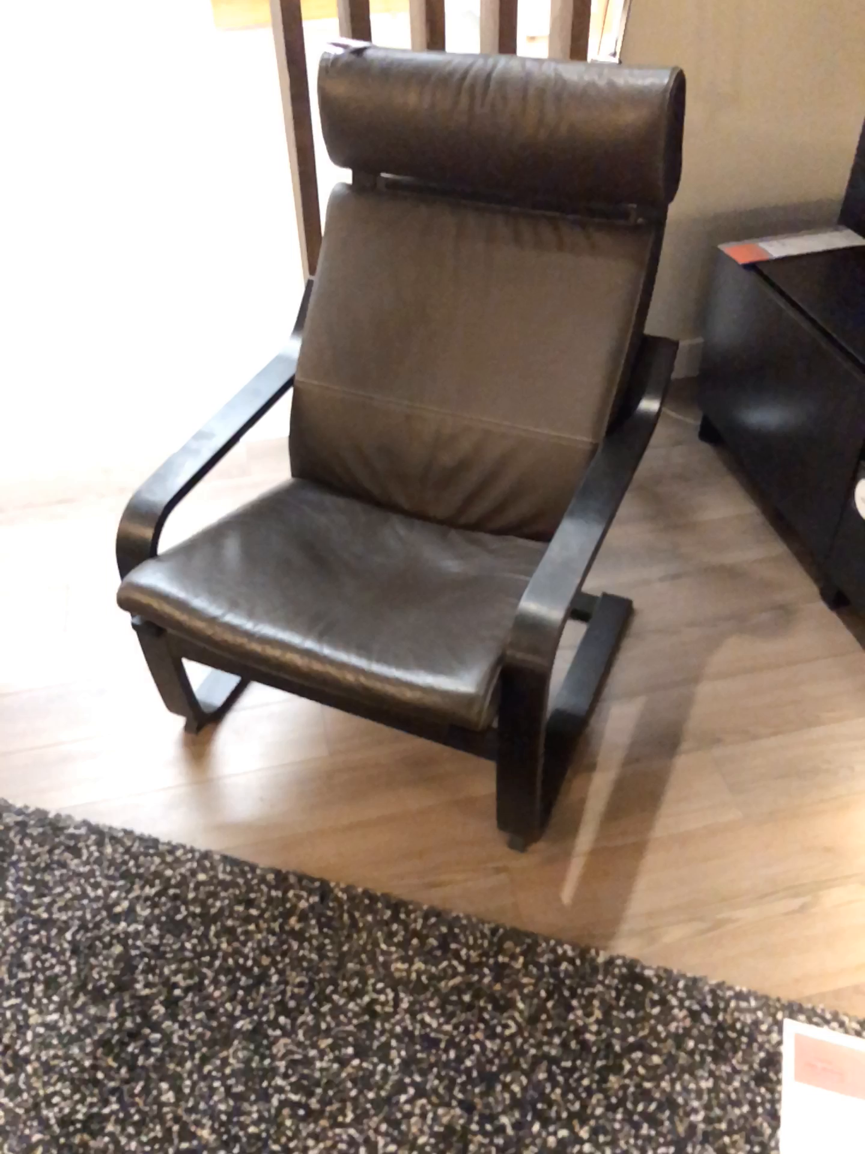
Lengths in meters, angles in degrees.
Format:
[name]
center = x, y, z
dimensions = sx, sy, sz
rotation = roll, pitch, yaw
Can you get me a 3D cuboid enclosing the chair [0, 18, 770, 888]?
[chair]
center = -0.050, -0.214, 1.411
dimensions = 0.781, 0.877, 0.732
rotation = 15, 45, 18
